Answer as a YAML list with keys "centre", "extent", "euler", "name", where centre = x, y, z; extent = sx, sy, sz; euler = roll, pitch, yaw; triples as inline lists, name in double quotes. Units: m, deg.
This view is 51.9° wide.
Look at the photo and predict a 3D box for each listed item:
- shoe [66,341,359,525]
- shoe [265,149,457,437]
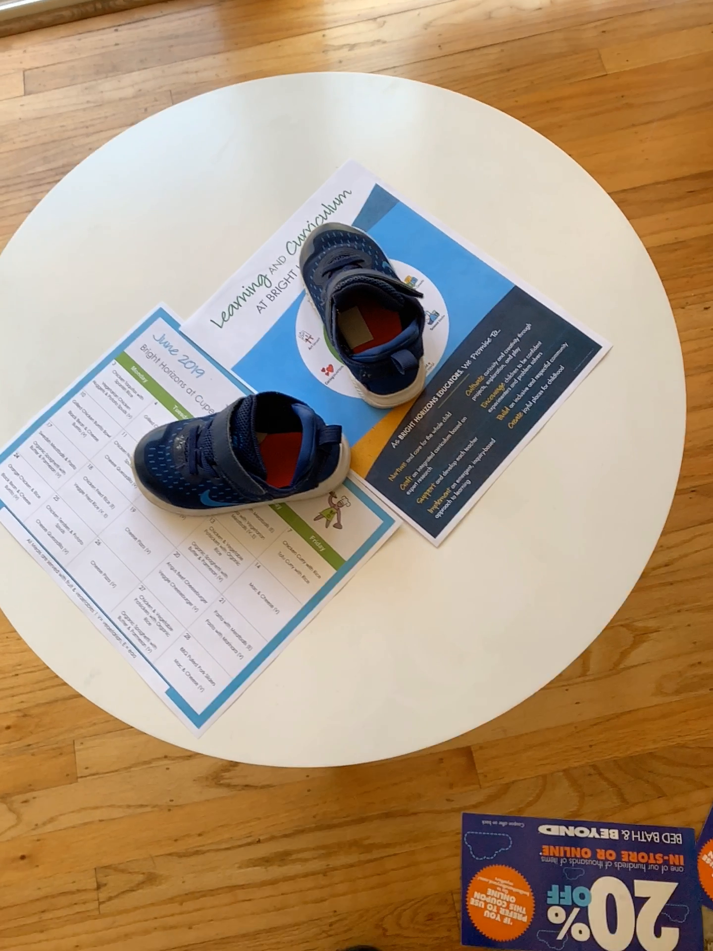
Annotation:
- centre: [-0.090, -0.023, 0.502]
  extent: [0.170, 0.110, 0.080]
  euler: [-5, 74, 3]
  name: "shoe"
- centre: [0.004, -0.137, 0.571]
  extent: [0.080, 0.110, 0.170]
  euler: [-21, 74, -2]
  name: "shoe"
